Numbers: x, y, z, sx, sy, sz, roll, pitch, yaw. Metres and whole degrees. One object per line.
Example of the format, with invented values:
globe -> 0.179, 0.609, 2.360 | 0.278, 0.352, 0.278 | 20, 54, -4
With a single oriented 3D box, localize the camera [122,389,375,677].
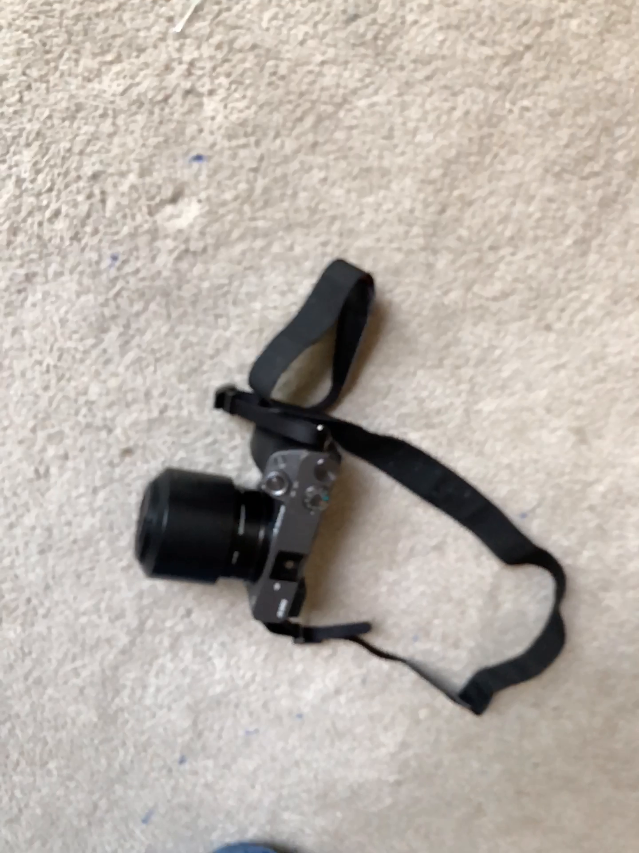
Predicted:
camera -> -0.048, 0.064, 0.424 | 0.110, 0.070, 0.140 | 10, 108, -18
